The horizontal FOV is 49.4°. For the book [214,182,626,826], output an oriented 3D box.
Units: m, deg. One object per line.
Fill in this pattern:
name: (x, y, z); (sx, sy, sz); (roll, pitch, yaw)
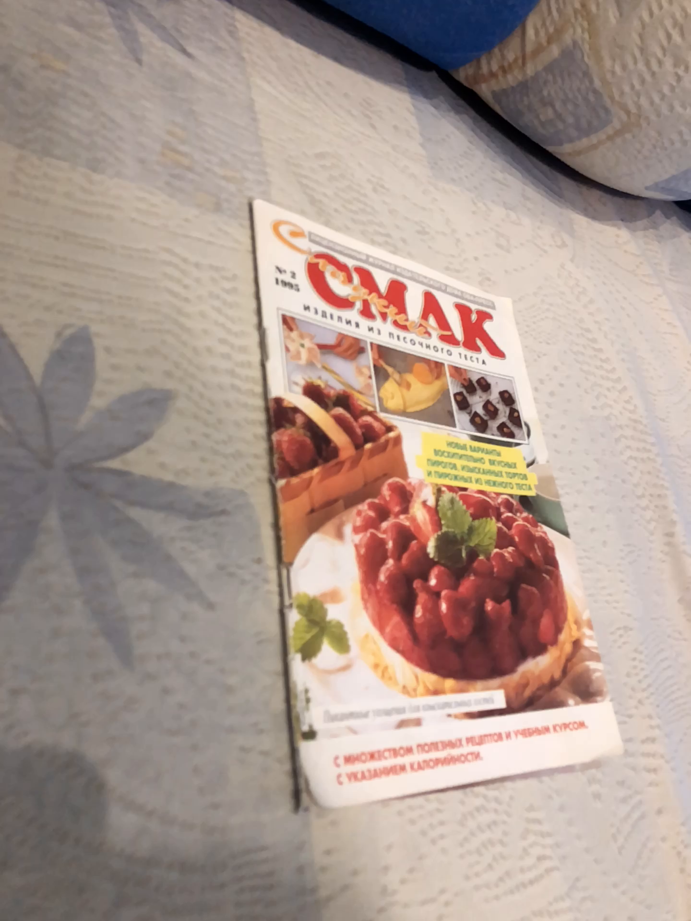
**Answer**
book: (0.034, 0.012, 0.327); (0.178, 0.020, 0.241); (9, 64, -37)
